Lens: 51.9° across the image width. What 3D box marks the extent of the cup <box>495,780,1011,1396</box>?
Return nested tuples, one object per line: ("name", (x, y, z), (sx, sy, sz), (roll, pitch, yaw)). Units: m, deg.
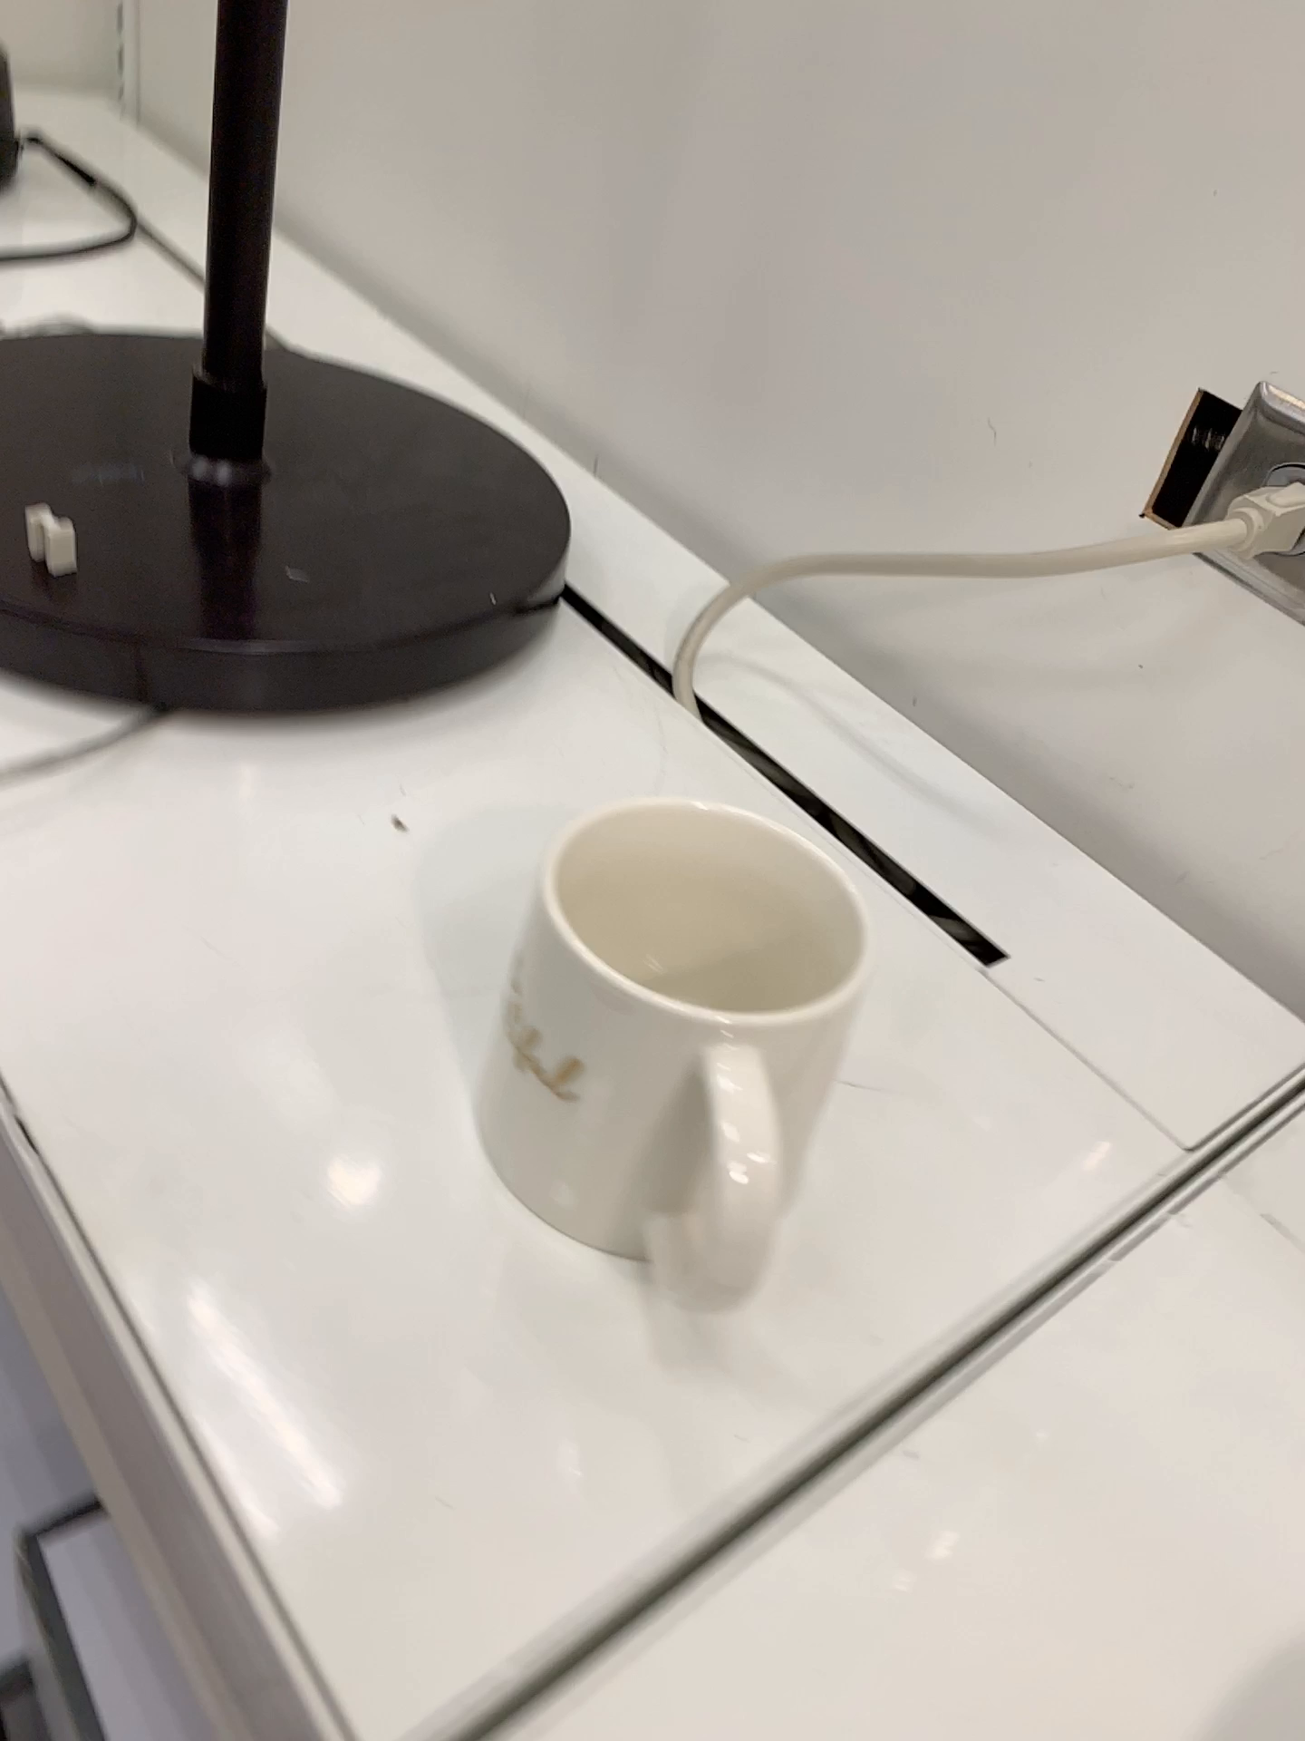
("cup", (0.015, 0.059, 0.384), (0.104, 0.097, 0.140), (5, 37, -12))
